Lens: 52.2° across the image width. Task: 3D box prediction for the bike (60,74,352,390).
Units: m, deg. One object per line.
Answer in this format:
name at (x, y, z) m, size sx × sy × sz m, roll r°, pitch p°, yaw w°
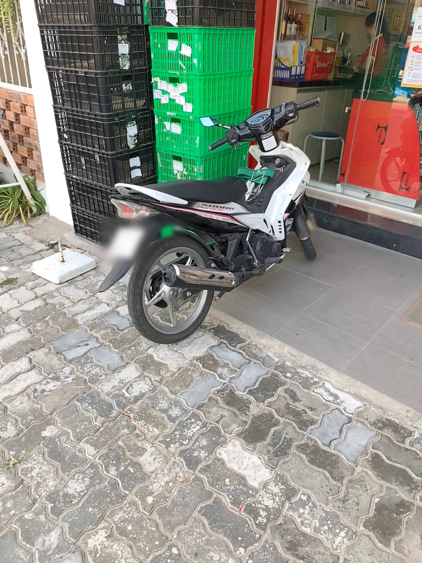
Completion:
bike at (0.109, -0.498, 2.593) m, size 0.668 × 1.186 × 1.820 m, roll 20°, pitch 35°, yaw 30°
